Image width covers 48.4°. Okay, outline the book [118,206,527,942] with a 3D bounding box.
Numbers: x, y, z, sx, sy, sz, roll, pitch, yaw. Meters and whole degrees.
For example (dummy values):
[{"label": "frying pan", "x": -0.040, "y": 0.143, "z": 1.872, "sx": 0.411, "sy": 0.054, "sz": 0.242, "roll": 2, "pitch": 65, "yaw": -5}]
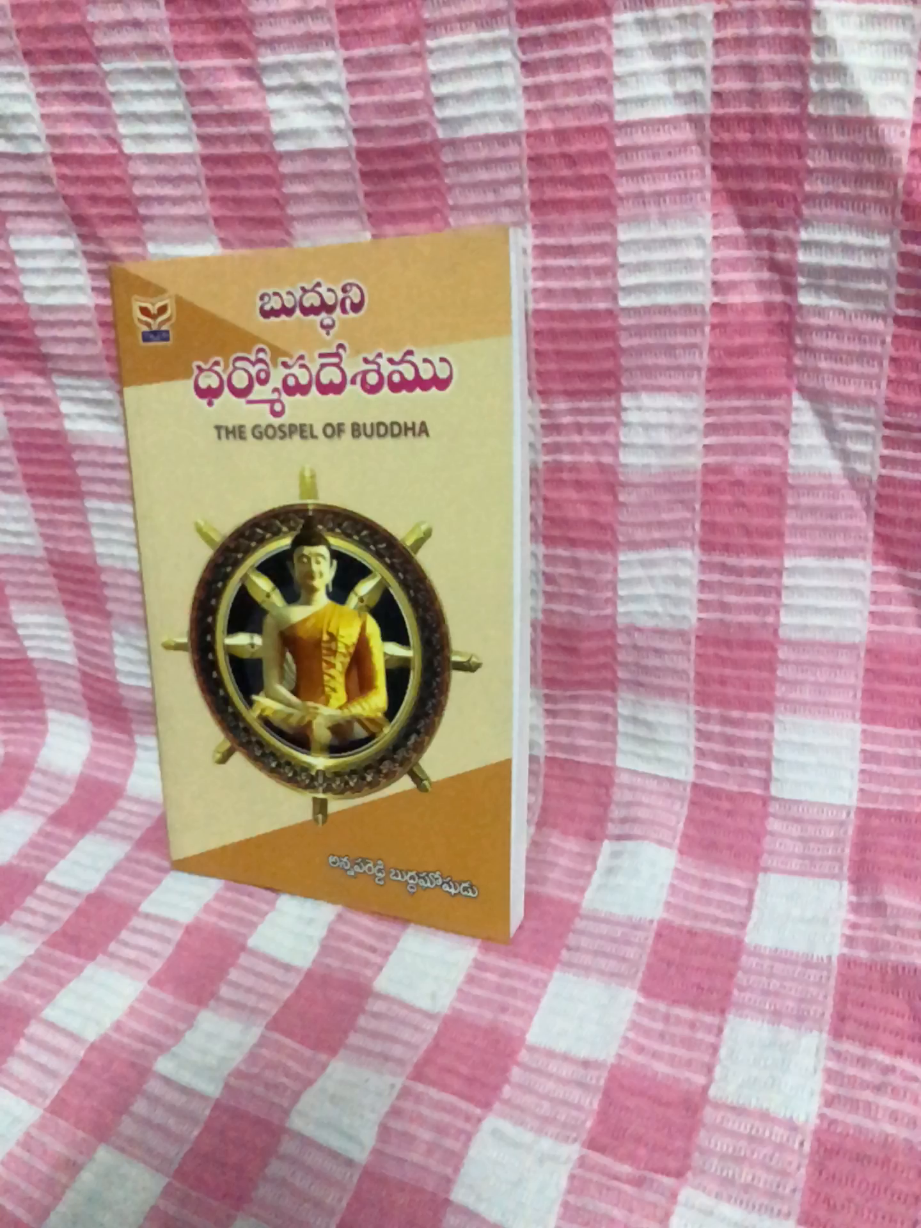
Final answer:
[{"label": "book", "x": -0.046, "y": -0.012, "z": 0.332, "sx": 0.140, "sy": 0.210, "sz": 0.020, "roll": 4, "pitch": 10, "yaw": 28}]
